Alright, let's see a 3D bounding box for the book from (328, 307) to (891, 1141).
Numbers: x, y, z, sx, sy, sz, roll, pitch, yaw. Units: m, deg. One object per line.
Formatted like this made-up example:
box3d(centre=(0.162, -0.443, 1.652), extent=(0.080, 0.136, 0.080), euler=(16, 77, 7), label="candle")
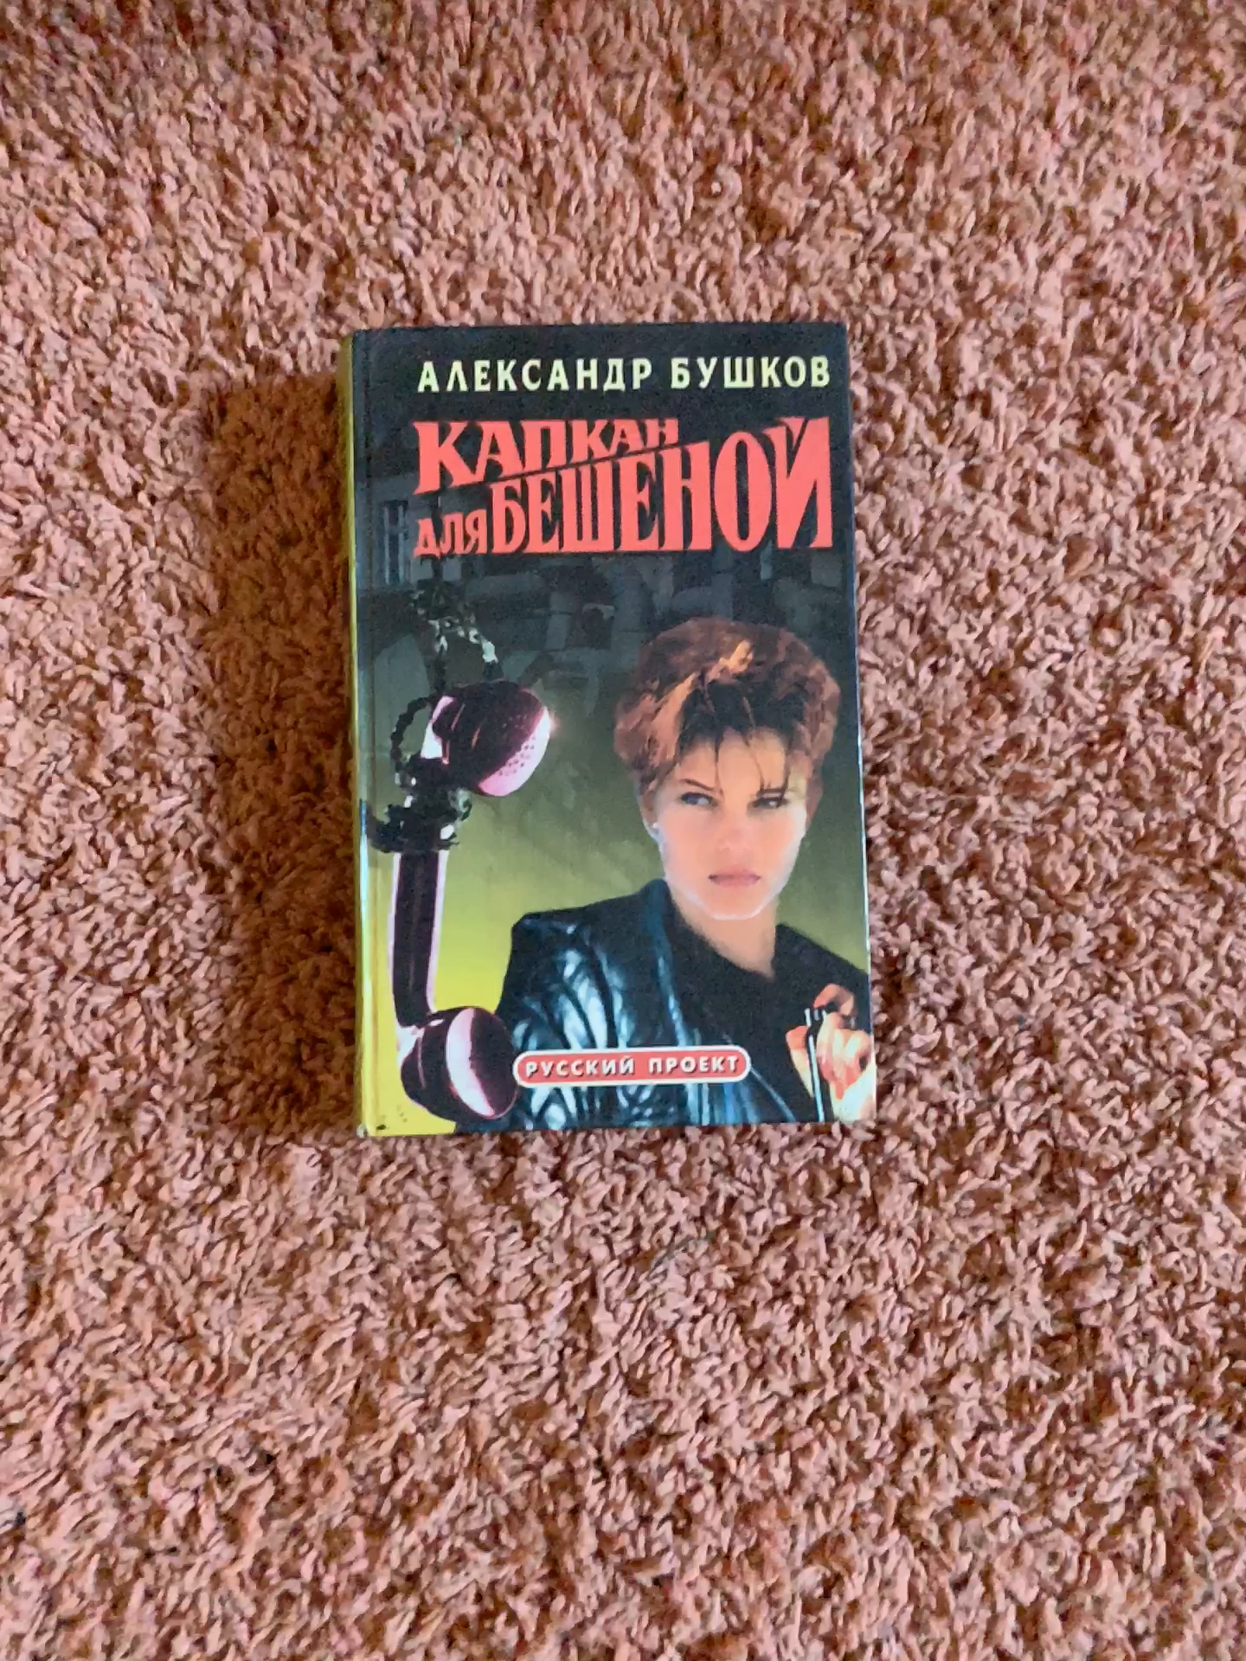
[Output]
box3d(centre=(-0.004, -0.026, 0.309), extent=(0.124, 0.027, 0.190), euler=(-2, 87, -1), label="book")
